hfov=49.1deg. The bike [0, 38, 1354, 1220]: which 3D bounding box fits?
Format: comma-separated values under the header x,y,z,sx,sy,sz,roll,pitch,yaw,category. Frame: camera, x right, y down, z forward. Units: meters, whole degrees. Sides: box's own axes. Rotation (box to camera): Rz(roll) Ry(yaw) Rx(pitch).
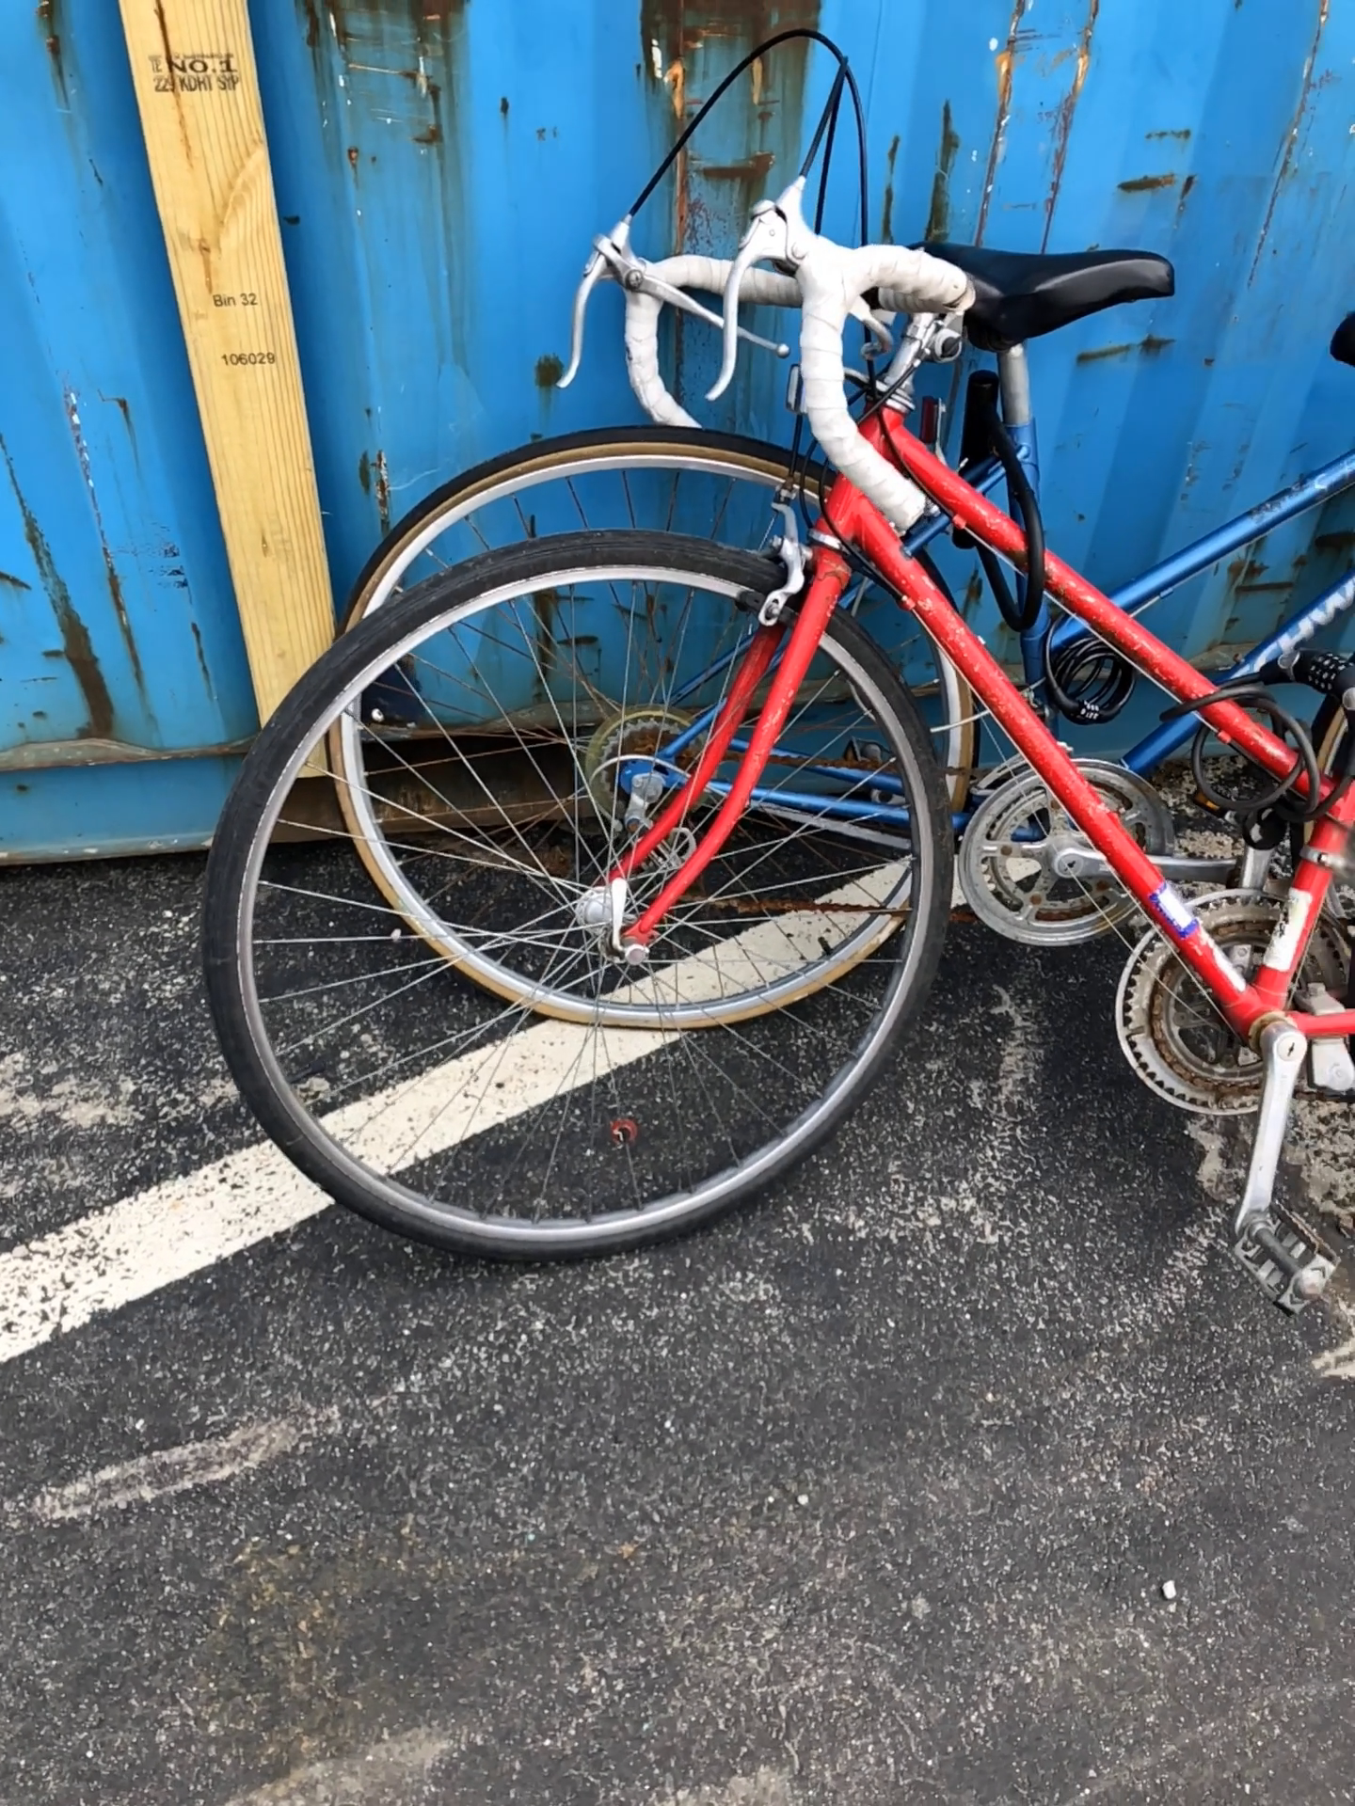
x,y,z,sx,sy,sz,roll,pitch,yaw,category
0.453,-0.173,1.330,1.640,0.824,0.486,0,44,-6,bike
